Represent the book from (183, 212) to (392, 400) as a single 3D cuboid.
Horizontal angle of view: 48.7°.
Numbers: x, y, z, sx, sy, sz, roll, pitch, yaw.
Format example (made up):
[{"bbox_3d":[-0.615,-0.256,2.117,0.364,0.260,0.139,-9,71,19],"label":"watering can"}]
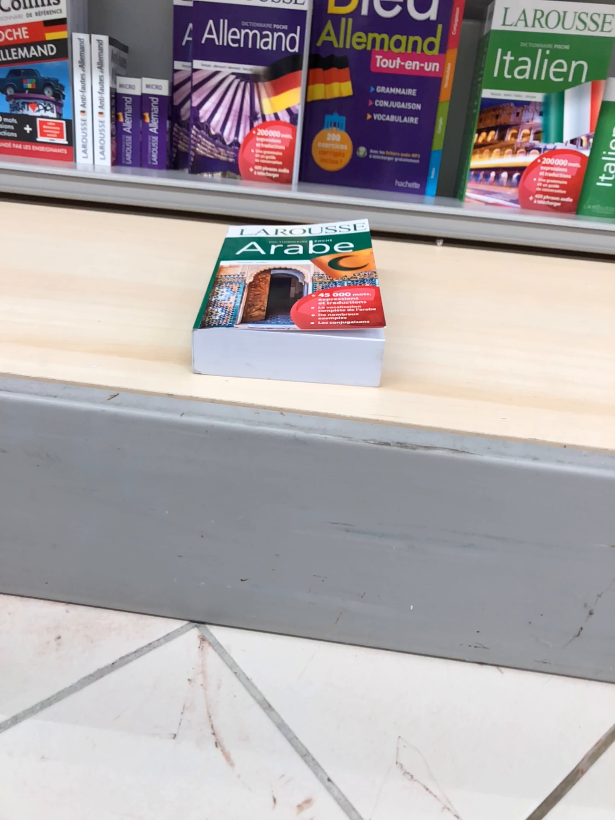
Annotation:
[{"bbox_3d":[-0.008,-0.078,0.448,0.111,0.045,0.183,5,31,0],"label":"book"}]
